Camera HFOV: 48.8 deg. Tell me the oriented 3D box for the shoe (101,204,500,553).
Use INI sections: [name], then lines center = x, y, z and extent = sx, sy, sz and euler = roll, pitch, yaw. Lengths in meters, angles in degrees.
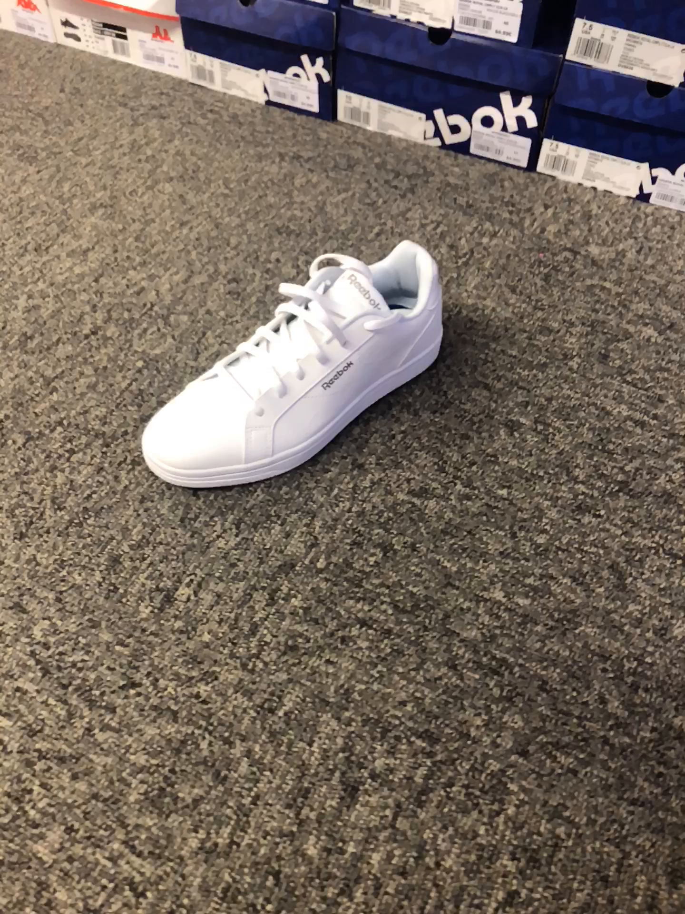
[shoe]
center = -0.020, -0.063, 0.548
extent = 0.261, 0.100, 0.100
euler = -34, 59, -18
